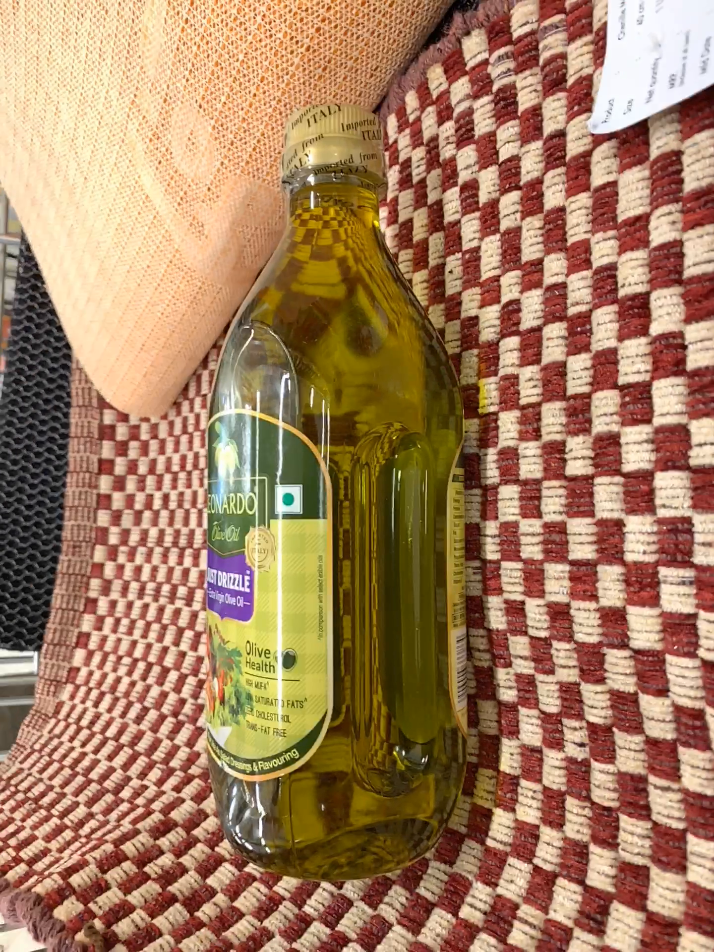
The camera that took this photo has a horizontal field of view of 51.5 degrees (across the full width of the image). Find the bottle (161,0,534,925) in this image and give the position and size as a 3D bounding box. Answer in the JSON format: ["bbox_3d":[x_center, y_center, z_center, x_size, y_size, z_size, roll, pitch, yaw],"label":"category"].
[{"bbox_3d":[-0.005,-0.011,0.233,0.081,0.070,0.240,4,91,48],"label":"bottle"}]
